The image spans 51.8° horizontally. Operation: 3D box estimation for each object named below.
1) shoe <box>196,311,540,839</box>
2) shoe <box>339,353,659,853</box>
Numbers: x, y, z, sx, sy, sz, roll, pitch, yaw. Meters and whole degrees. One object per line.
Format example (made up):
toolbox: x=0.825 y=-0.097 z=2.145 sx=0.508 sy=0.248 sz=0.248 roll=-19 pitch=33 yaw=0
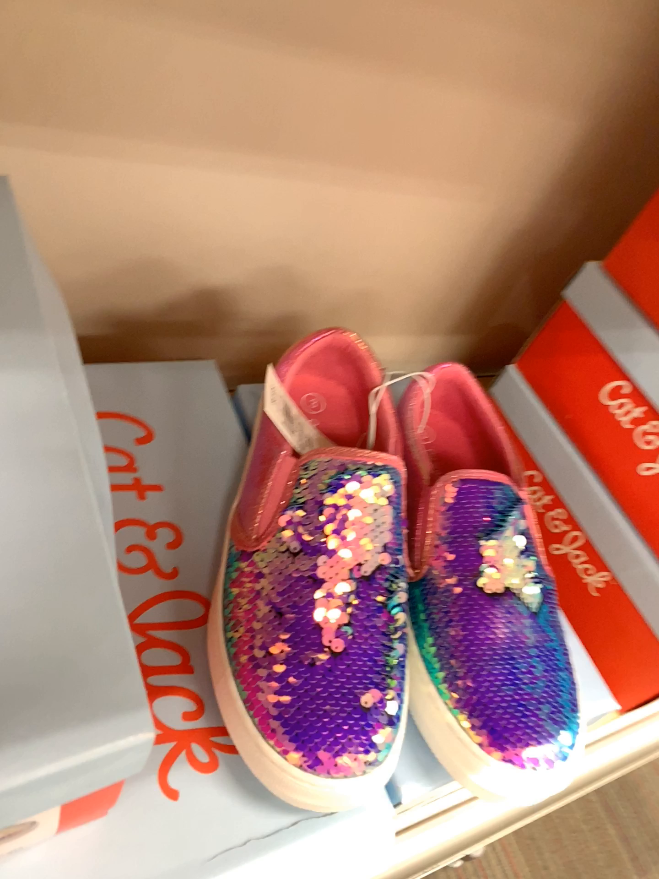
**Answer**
shoe: x=0.003 y=0.050 z=0.303 sx=0.100 sy=0.074 sz=0.211 roll=9 pitch=49 yaw=-17
shoe: x=0.079 y=0.064 z=0.327 sx=0.090 sy=0.074 sz=0.211 roll=3 pitch=51 yaw=-22
